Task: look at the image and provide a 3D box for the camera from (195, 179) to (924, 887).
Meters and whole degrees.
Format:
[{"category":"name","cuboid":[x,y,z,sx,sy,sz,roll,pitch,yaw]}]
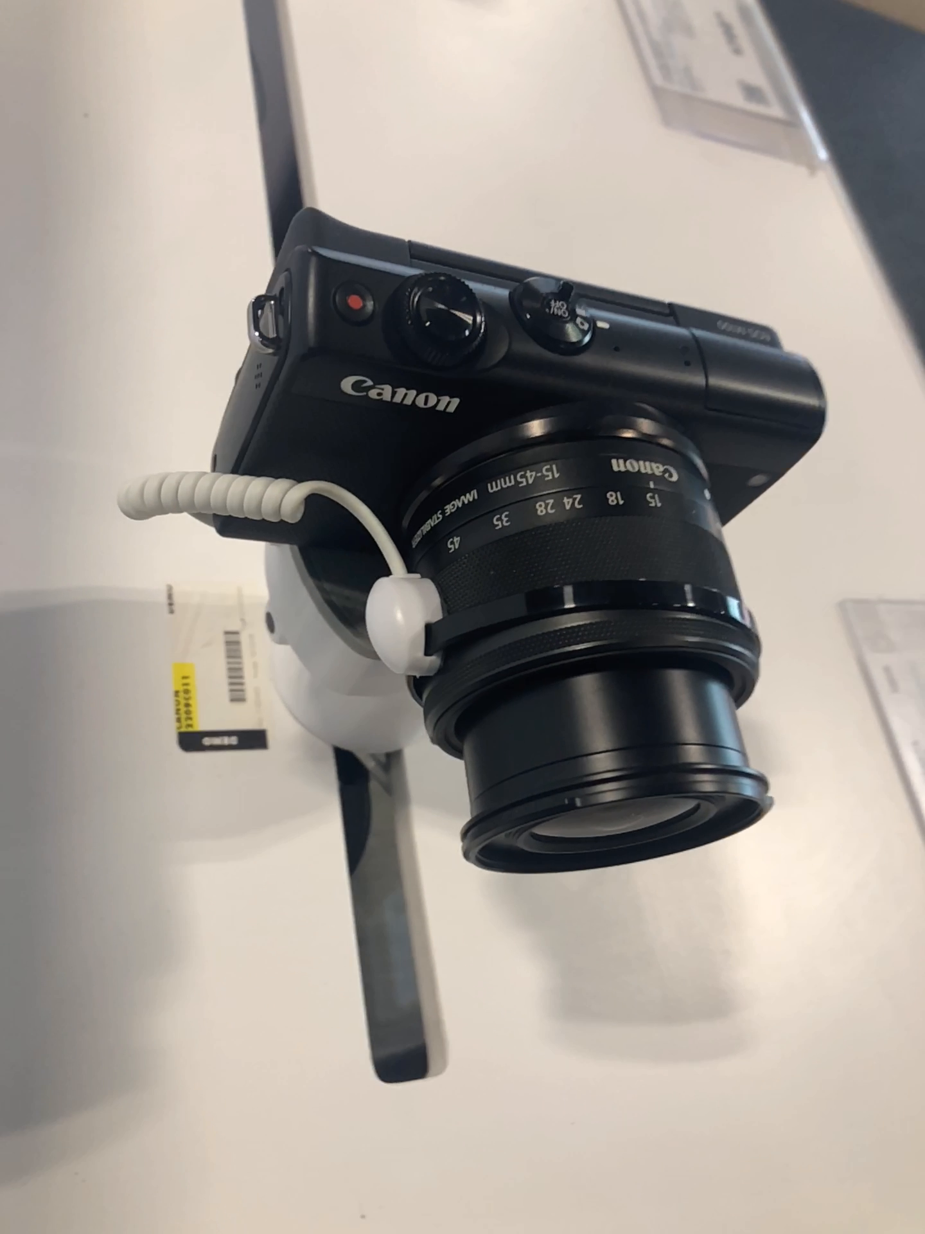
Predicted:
[{"category":"camera","cuboid":[0.014,-0.007,0.190,0.110,0.072,0.091,5,61,-24]}]
